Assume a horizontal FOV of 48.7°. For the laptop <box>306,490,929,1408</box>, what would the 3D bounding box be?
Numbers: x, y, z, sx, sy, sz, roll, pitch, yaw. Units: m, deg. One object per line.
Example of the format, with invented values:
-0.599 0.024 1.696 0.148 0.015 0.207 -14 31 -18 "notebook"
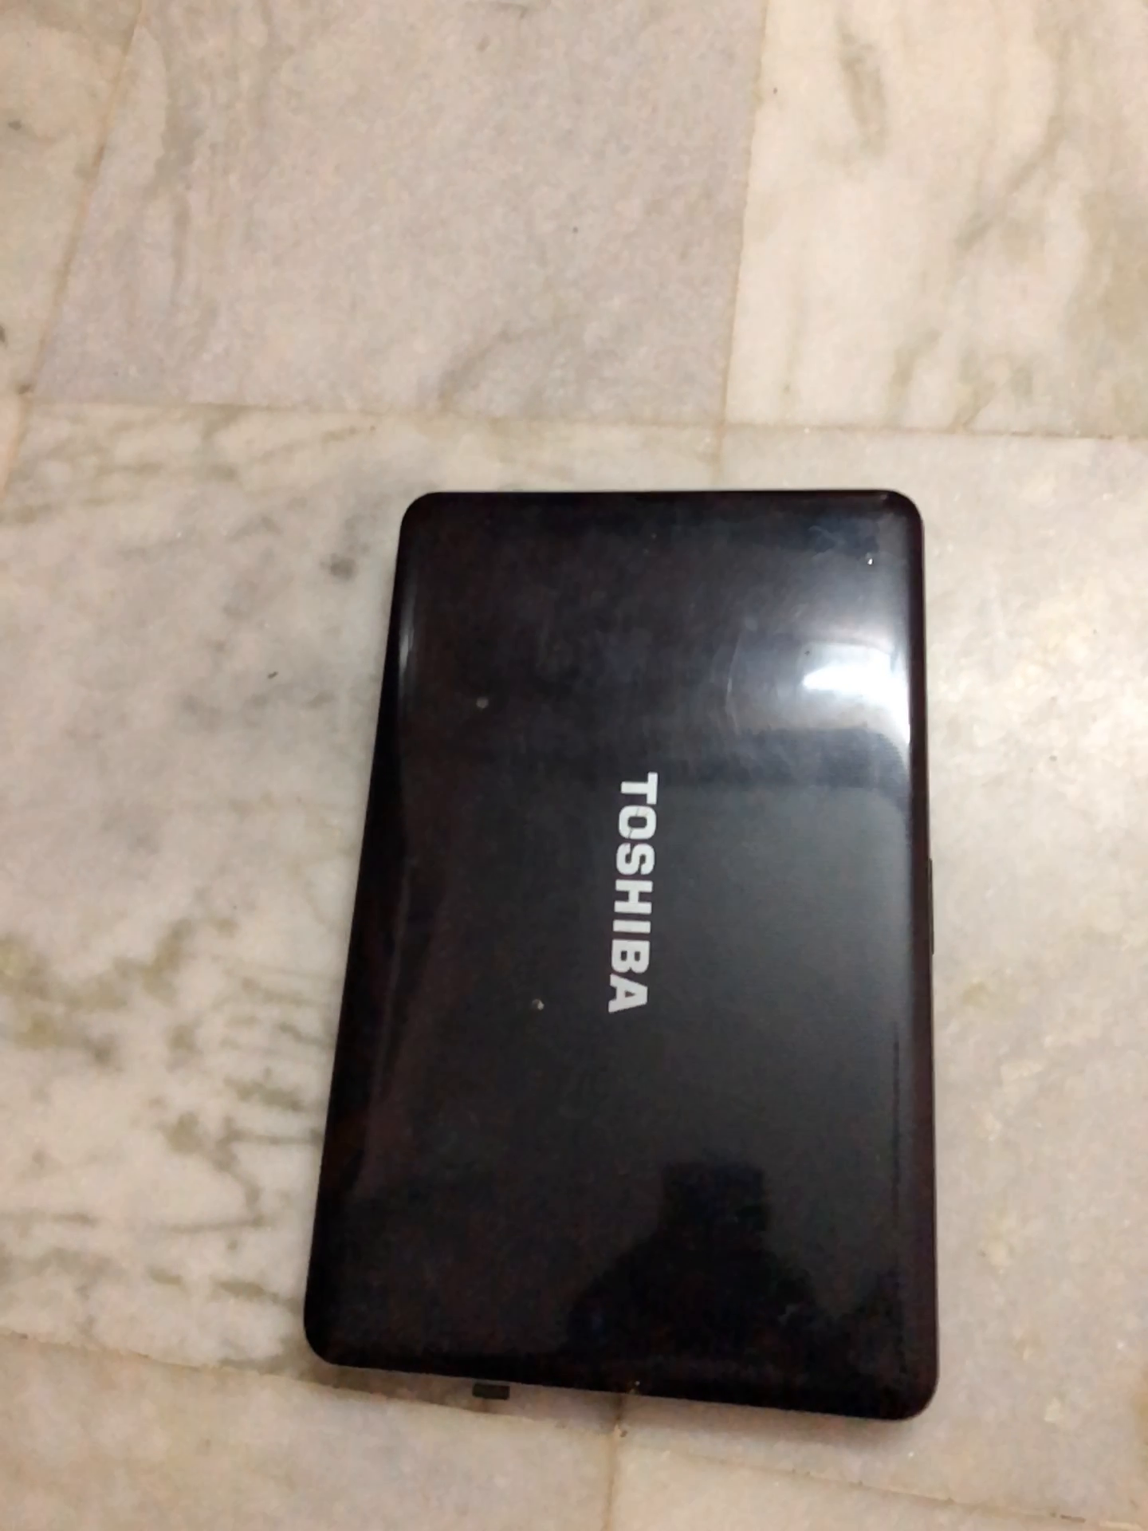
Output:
0.024 0.050 0.511 0.224 0.004 0.360 1 72 8 "laptop"
